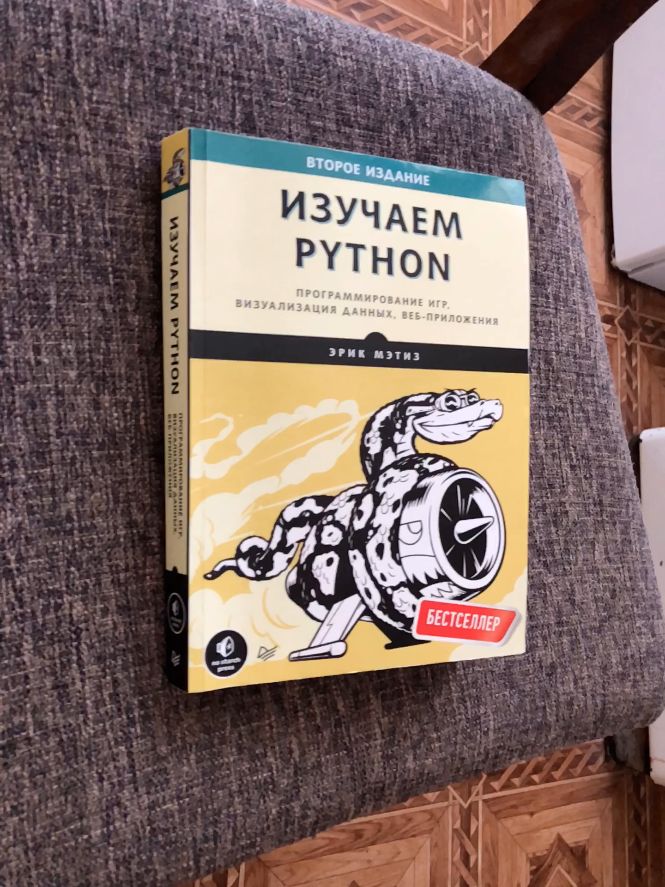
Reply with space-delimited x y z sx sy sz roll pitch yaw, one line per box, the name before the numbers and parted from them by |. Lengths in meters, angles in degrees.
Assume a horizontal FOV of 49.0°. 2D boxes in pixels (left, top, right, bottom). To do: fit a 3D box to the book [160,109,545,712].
book | 0.011 -0.014 0.330 0.168 0.040 0.233 1 86 -22
